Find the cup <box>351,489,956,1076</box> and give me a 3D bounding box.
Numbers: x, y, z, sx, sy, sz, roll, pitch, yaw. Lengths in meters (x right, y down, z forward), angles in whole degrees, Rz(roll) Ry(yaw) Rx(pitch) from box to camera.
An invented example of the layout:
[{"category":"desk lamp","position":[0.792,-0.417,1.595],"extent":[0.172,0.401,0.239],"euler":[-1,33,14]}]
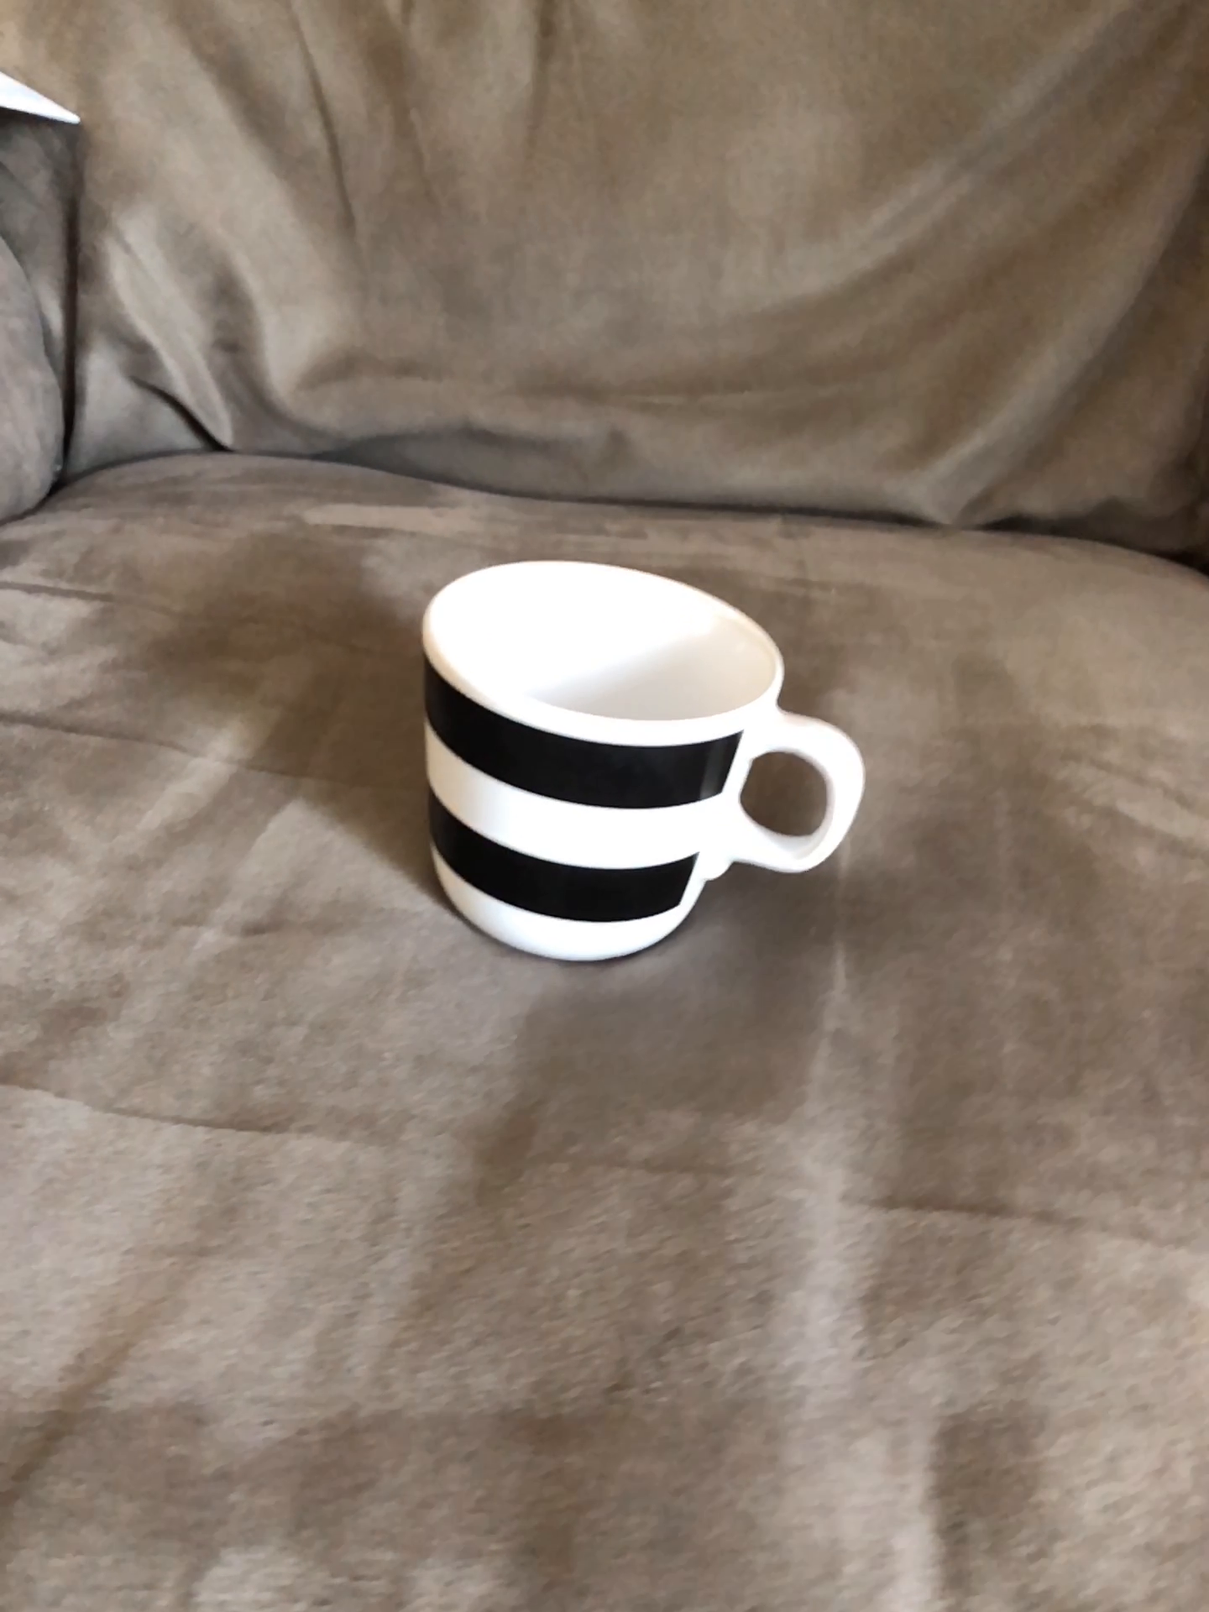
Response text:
[{"category":"cup","position":[0.010,-0.011,0.320],"extent":[0.110,0.080,0.080],"euler":[22,36,18]}]
